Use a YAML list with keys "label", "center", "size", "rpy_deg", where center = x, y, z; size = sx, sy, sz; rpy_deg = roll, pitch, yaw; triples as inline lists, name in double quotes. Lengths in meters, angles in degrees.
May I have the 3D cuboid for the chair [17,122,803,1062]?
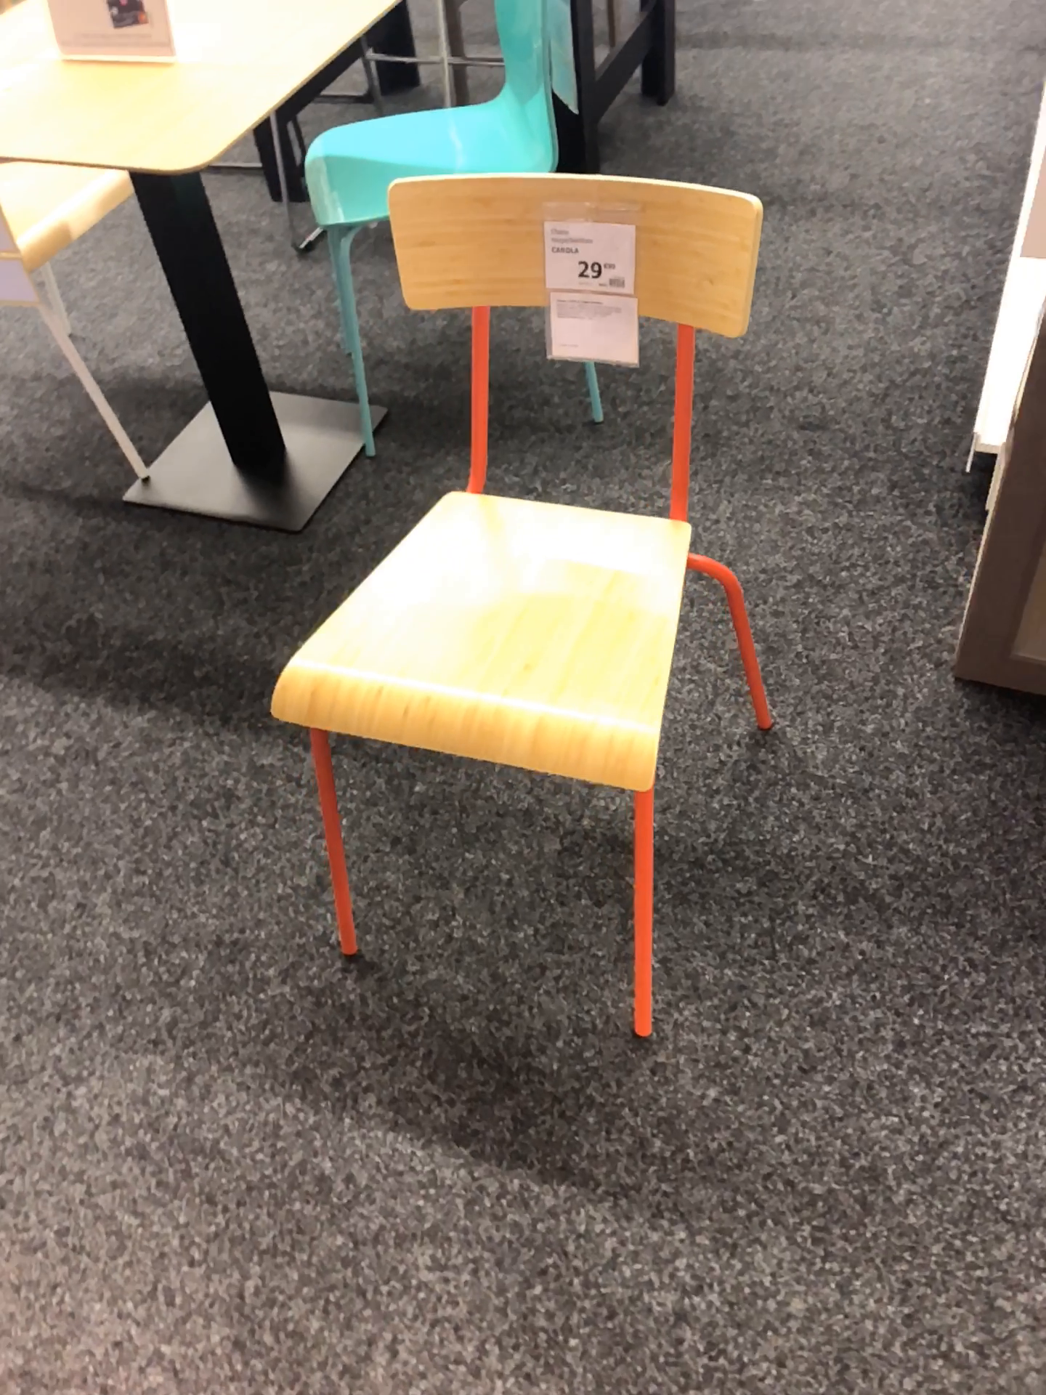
- label: "chair"
  center: [-0.020, -0.097, 1.278]
  size: [0.500, 0.816, 0.563]
  rpy_deg: [11, 50, 17]
